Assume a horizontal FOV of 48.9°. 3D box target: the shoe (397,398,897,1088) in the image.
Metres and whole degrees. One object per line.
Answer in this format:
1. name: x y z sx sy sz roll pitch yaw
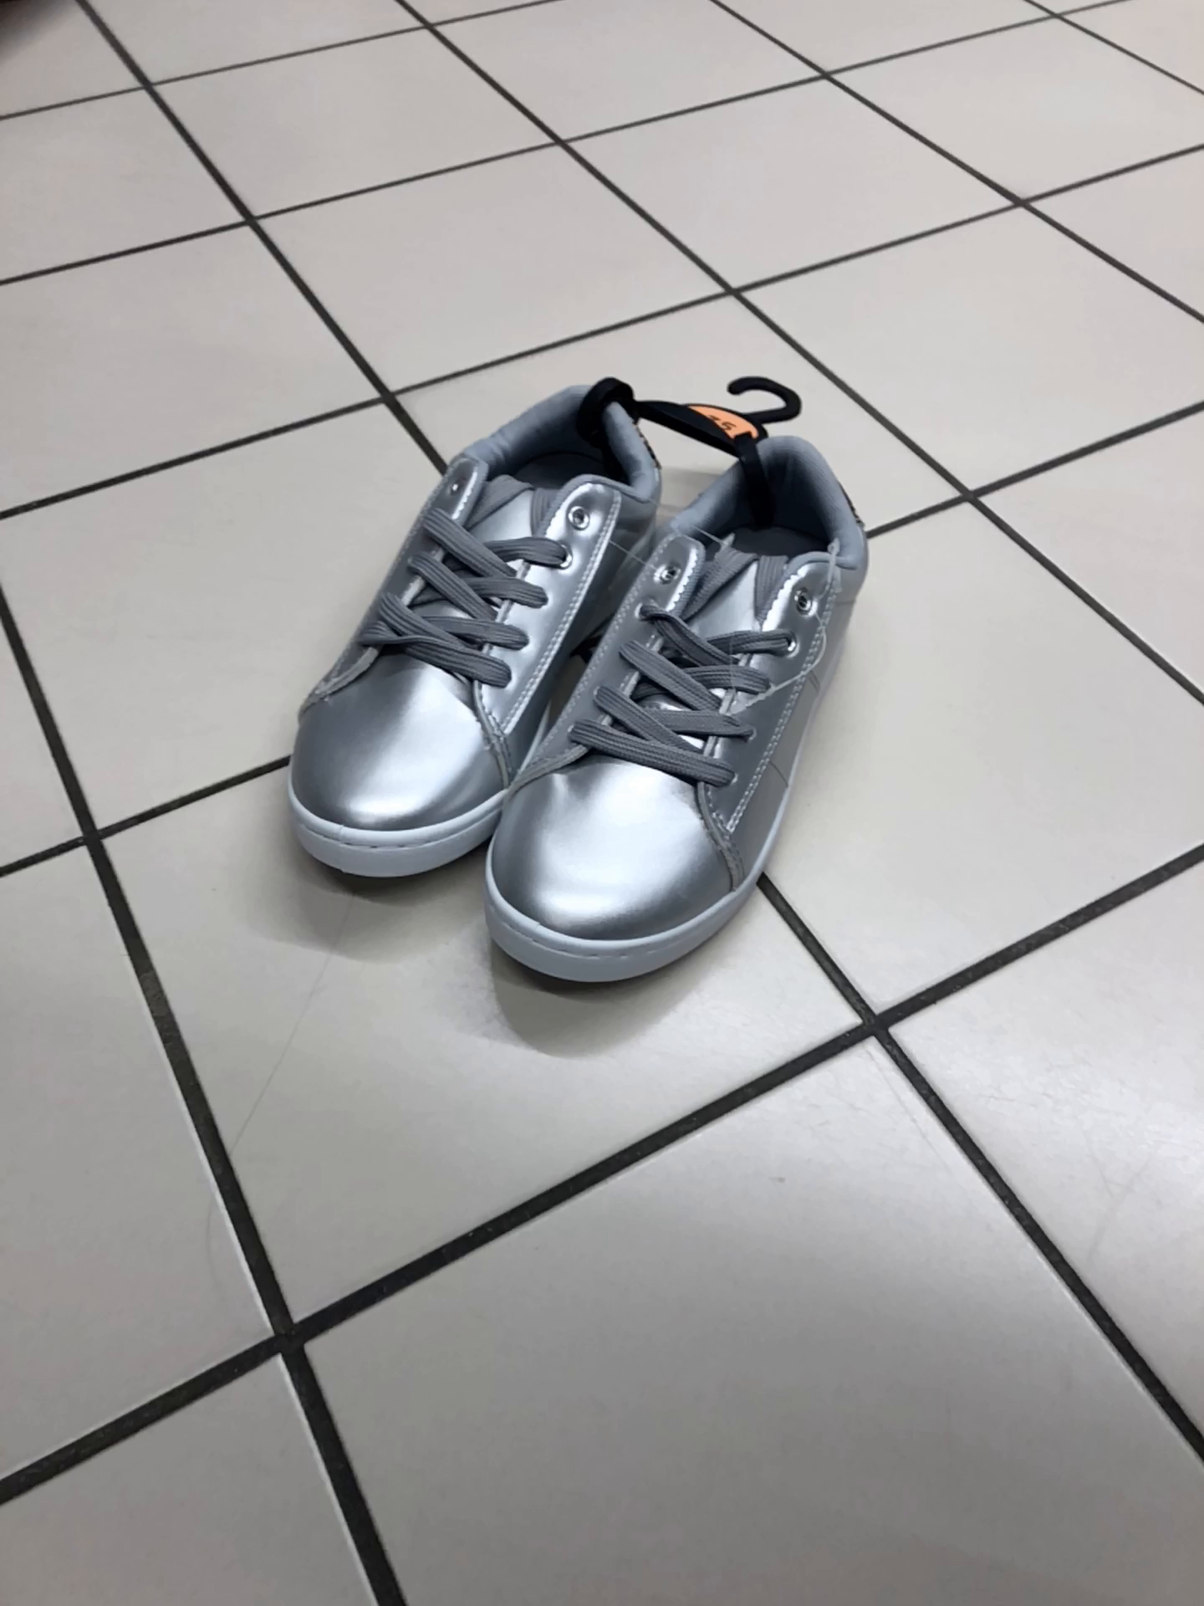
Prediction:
1. shoe: 0.026 -0.033 0.469 0.090 0.090 0.231 17 52 13

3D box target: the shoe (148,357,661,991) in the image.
1. shoe: -0.058 -0.059 0.500 0.090 0.090 0.231 15 52 12
